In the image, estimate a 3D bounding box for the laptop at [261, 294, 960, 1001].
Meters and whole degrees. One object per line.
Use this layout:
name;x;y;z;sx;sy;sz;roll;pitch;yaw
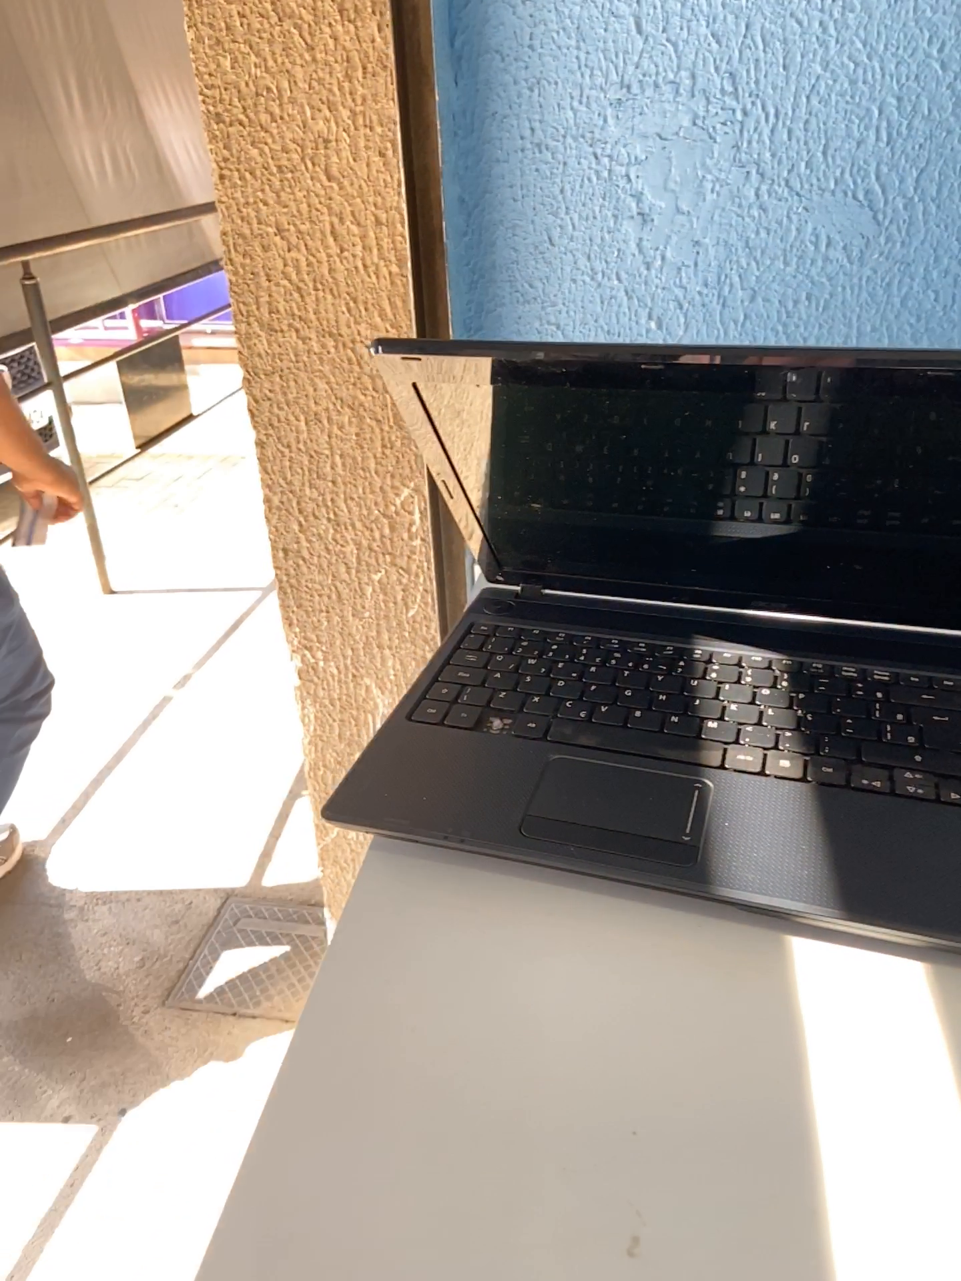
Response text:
laptop;0.138;-0.039;0.463;0.376;0.191;0.249;6;30;18
